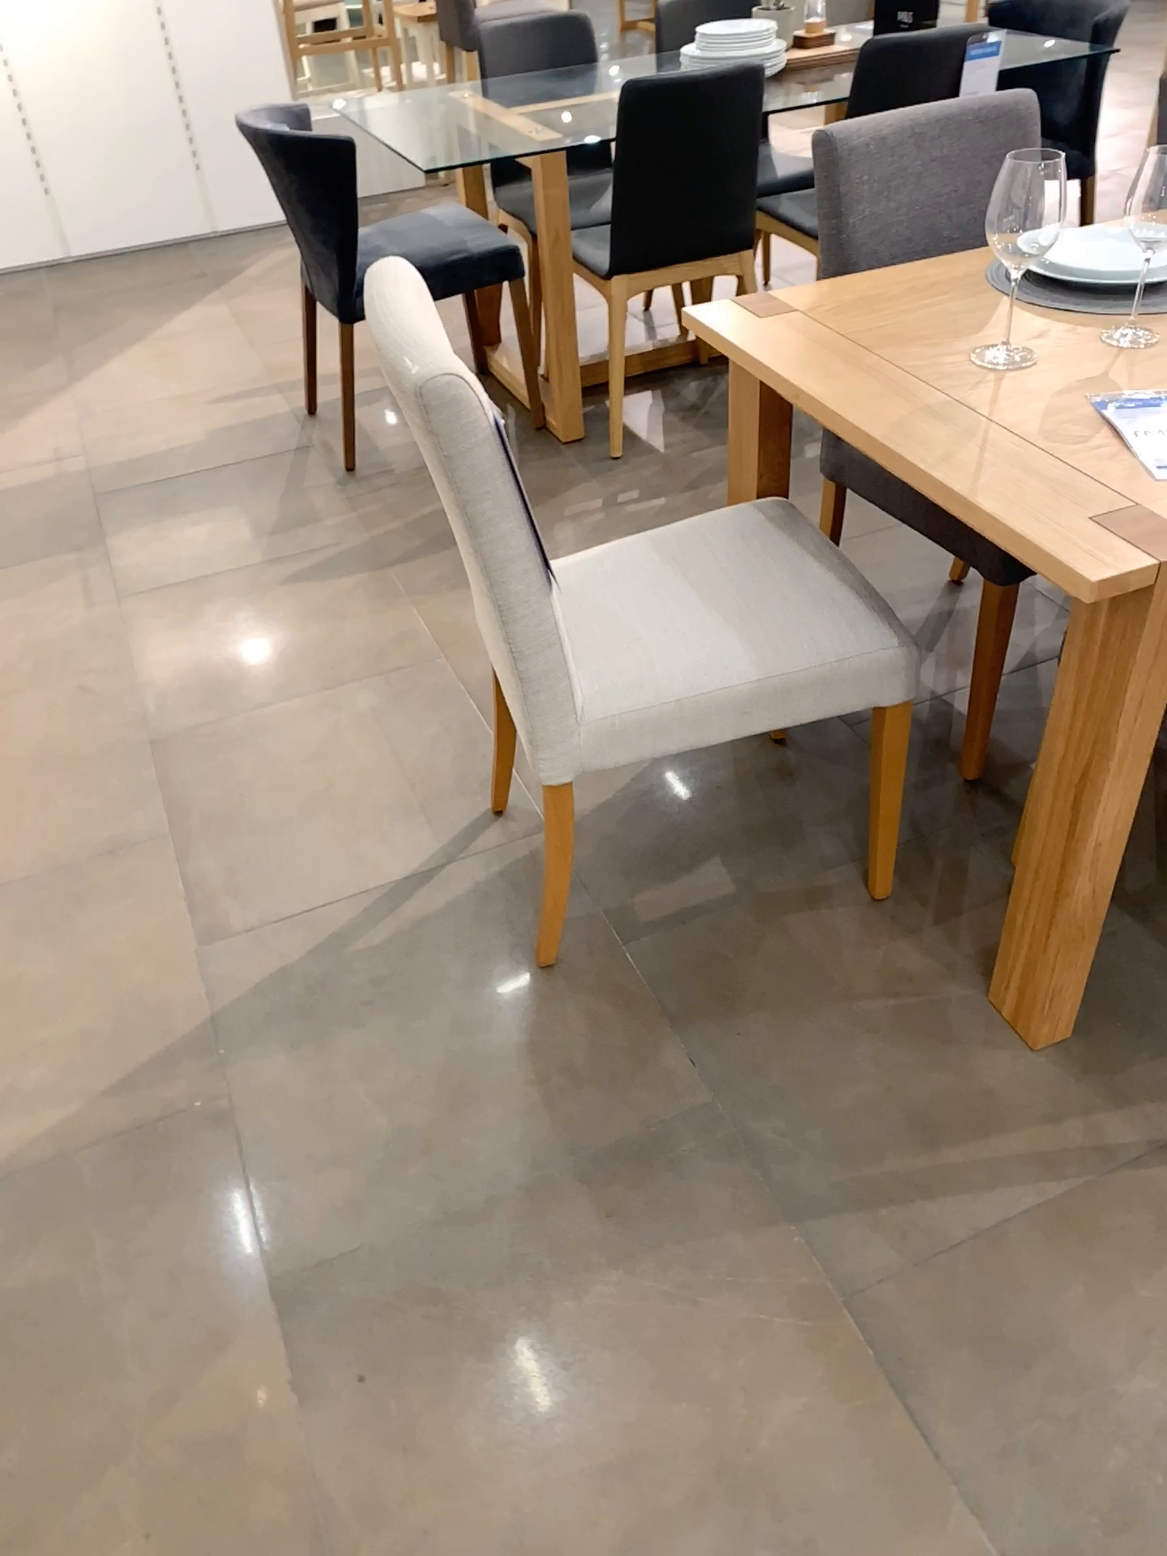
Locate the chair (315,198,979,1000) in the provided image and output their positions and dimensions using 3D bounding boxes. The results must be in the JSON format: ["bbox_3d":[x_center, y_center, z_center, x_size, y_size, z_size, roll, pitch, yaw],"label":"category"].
[{"bbox_3d":[0.050,-0.244,1.626,0.642,0.837,0.541,-11,39,-8],"label":"chair"}]
